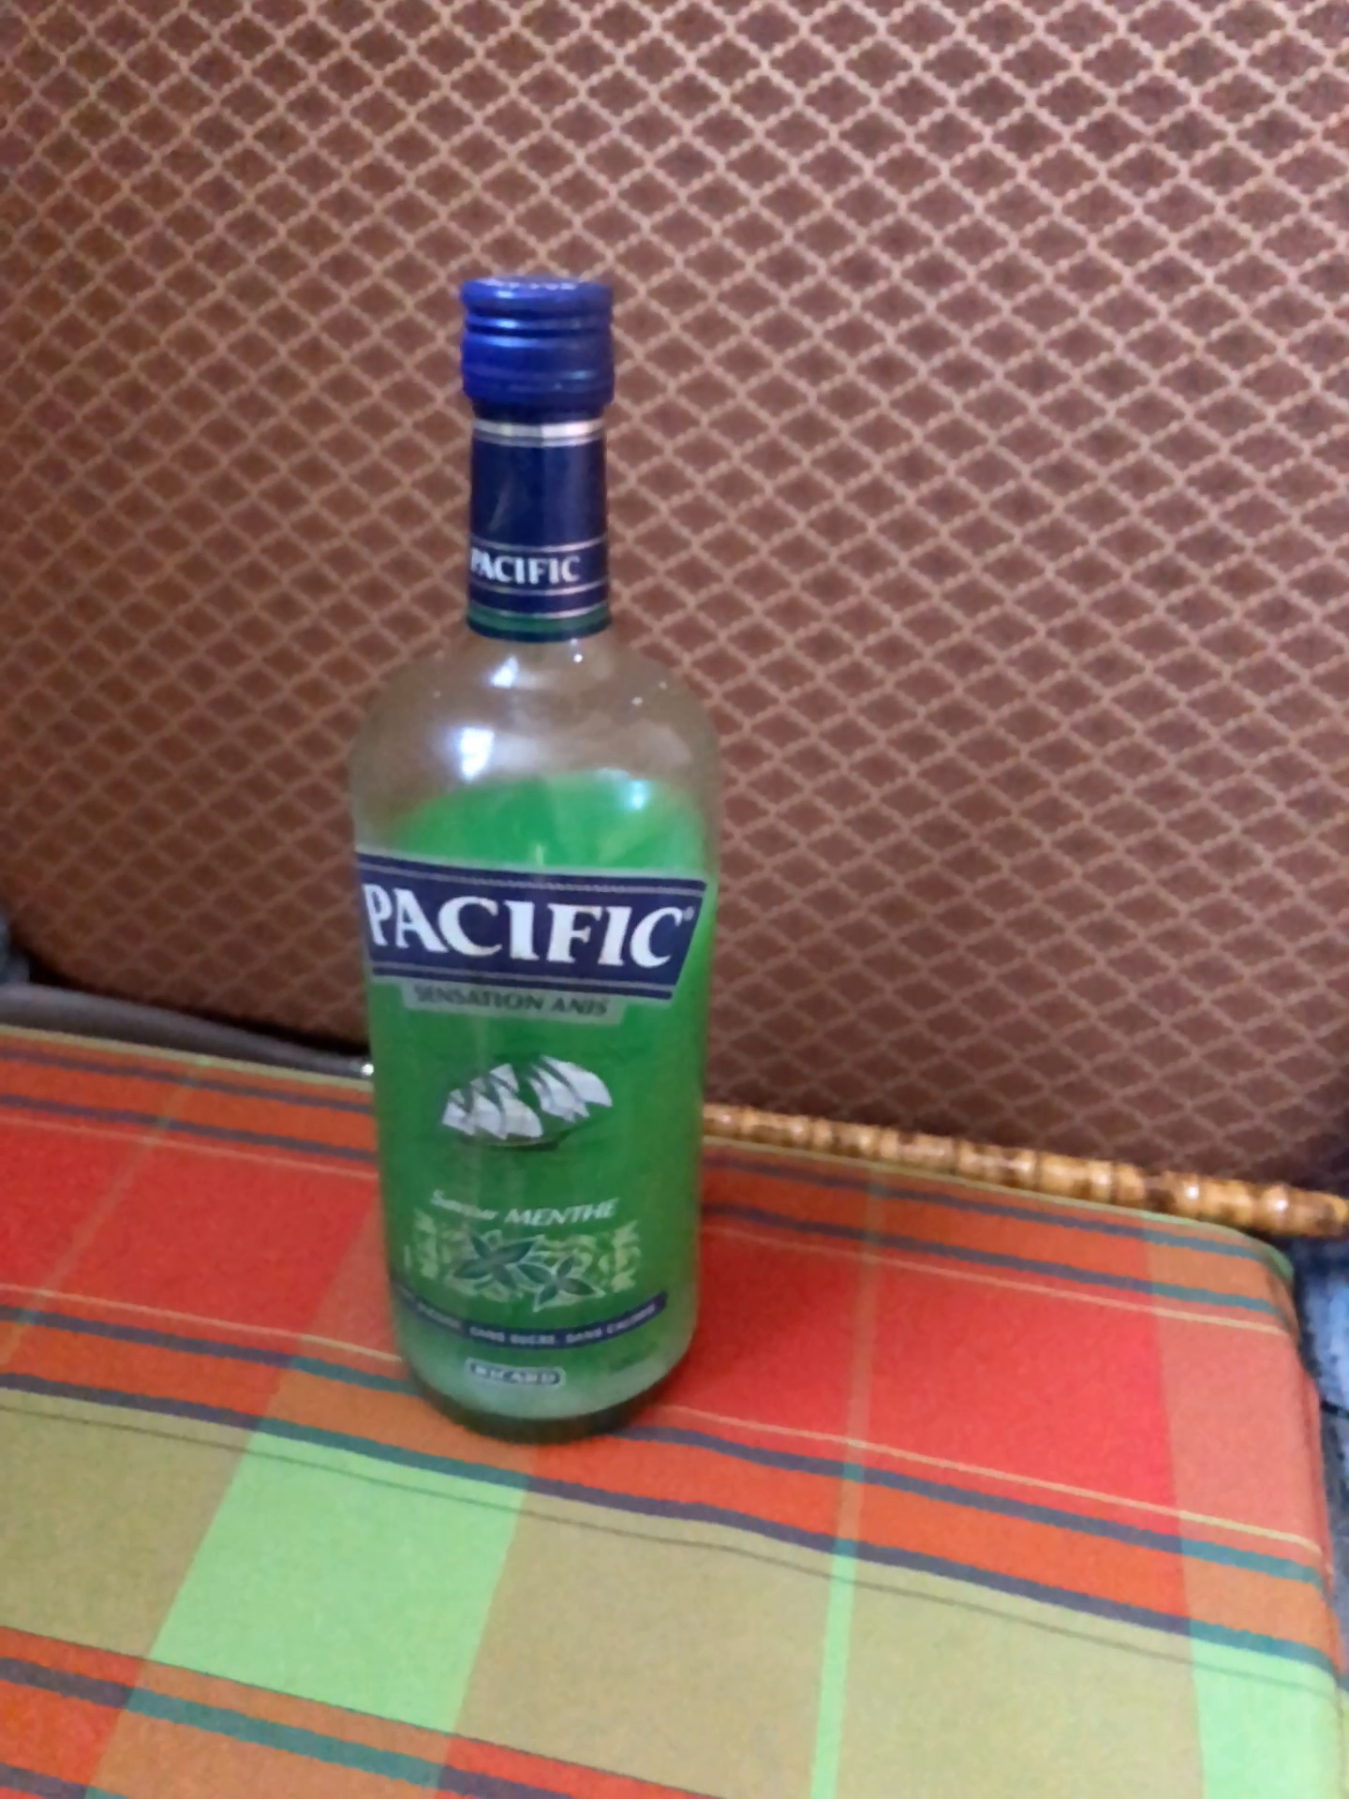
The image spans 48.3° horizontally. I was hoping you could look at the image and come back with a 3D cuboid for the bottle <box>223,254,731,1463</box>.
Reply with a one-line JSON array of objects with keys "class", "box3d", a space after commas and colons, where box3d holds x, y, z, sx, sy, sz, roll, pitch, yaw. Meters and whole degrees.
[{"class": "bottle", "box3d": [-0.036, 0.001, 0.372, 0.090, 0.289, 0.080, 2, 27, 3]}]
